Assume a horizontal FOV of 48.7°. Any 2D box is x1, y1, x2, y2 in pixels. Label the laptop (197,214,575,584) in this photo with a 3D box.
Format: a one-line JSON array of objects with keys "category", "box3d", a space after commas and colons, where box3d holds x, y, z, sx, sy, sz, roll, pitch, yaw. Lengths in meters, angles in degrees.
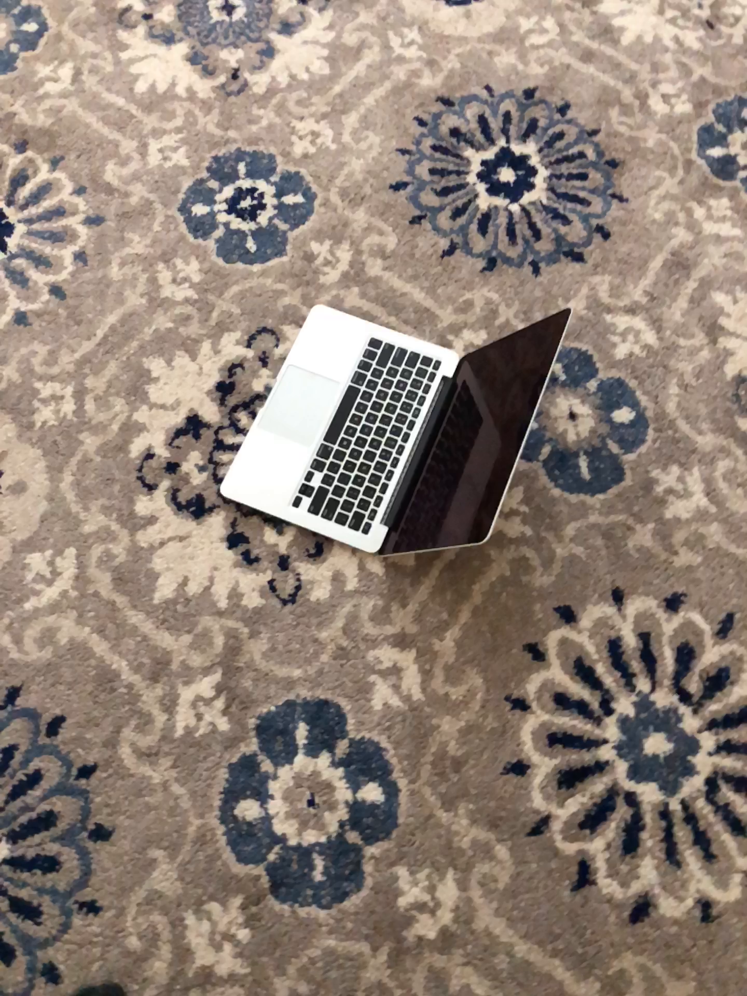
[{"category": "laptop", "box3d": [0.021, -0.115, 0.980, 0.322, 0.171, 0.300, 21, 69, 5]}]
